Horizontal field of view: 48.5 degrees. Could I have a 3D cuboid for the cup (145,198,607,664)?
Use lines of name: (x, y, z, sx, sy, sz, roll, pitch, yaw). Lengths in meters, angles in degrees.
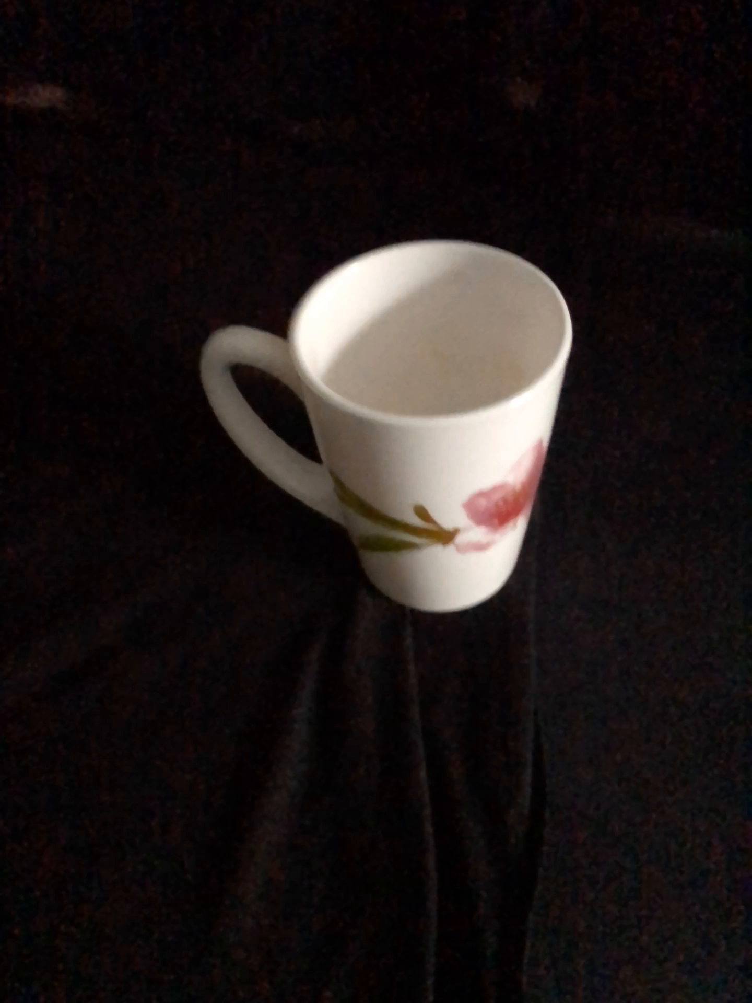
cup: (0.005, -0.020, 0.302, 0.125, 0.130, 0.090, 8, 55, 5)
